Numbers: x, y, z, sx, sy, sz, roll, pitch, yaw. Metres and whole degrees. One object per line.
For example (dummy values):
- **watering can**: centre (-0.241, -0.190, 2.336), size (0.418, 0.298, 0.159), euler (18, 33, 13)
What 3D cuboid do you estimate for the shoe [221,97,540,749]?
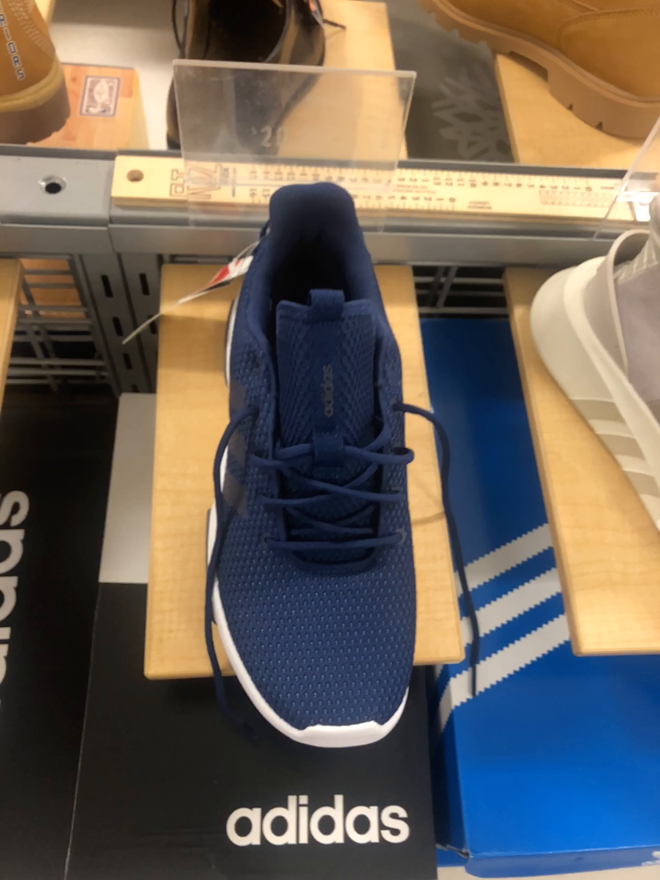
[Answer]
- **shoe**: centre (0.004, -0.011, 0.386), size (0.112, 0.145, 0.305), euler (0, 63, -6)
